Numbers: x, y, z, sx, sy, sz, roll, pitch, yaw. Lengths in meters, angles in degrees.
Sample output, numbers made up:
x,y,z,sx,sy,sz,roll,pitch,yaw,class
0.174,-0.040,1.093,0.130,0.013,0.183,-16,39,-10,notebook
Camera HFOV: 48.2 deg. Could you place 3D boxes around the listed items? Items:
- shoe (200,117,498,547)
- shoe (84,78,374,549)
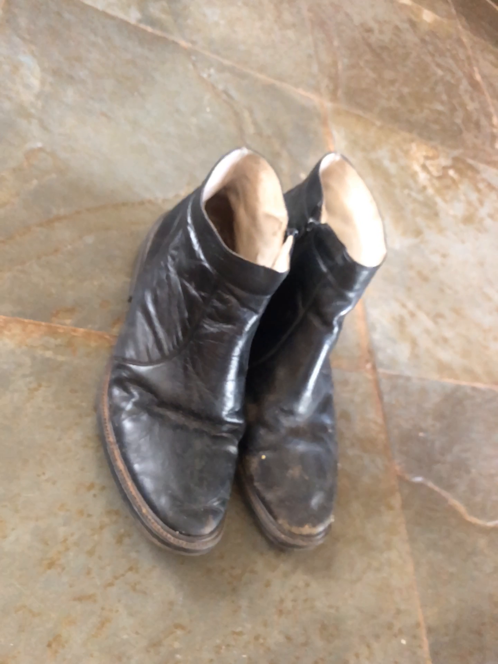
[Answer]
x,y,z,sx,sy,sz,roll,pitch,yaw,class
0.055,0.008,0.404,0.100,0.159,0.251,6,61,-29,shoe
-0.028,-0.002,0.365,0.100,0.159,0.251,11,59,-26,shoe
